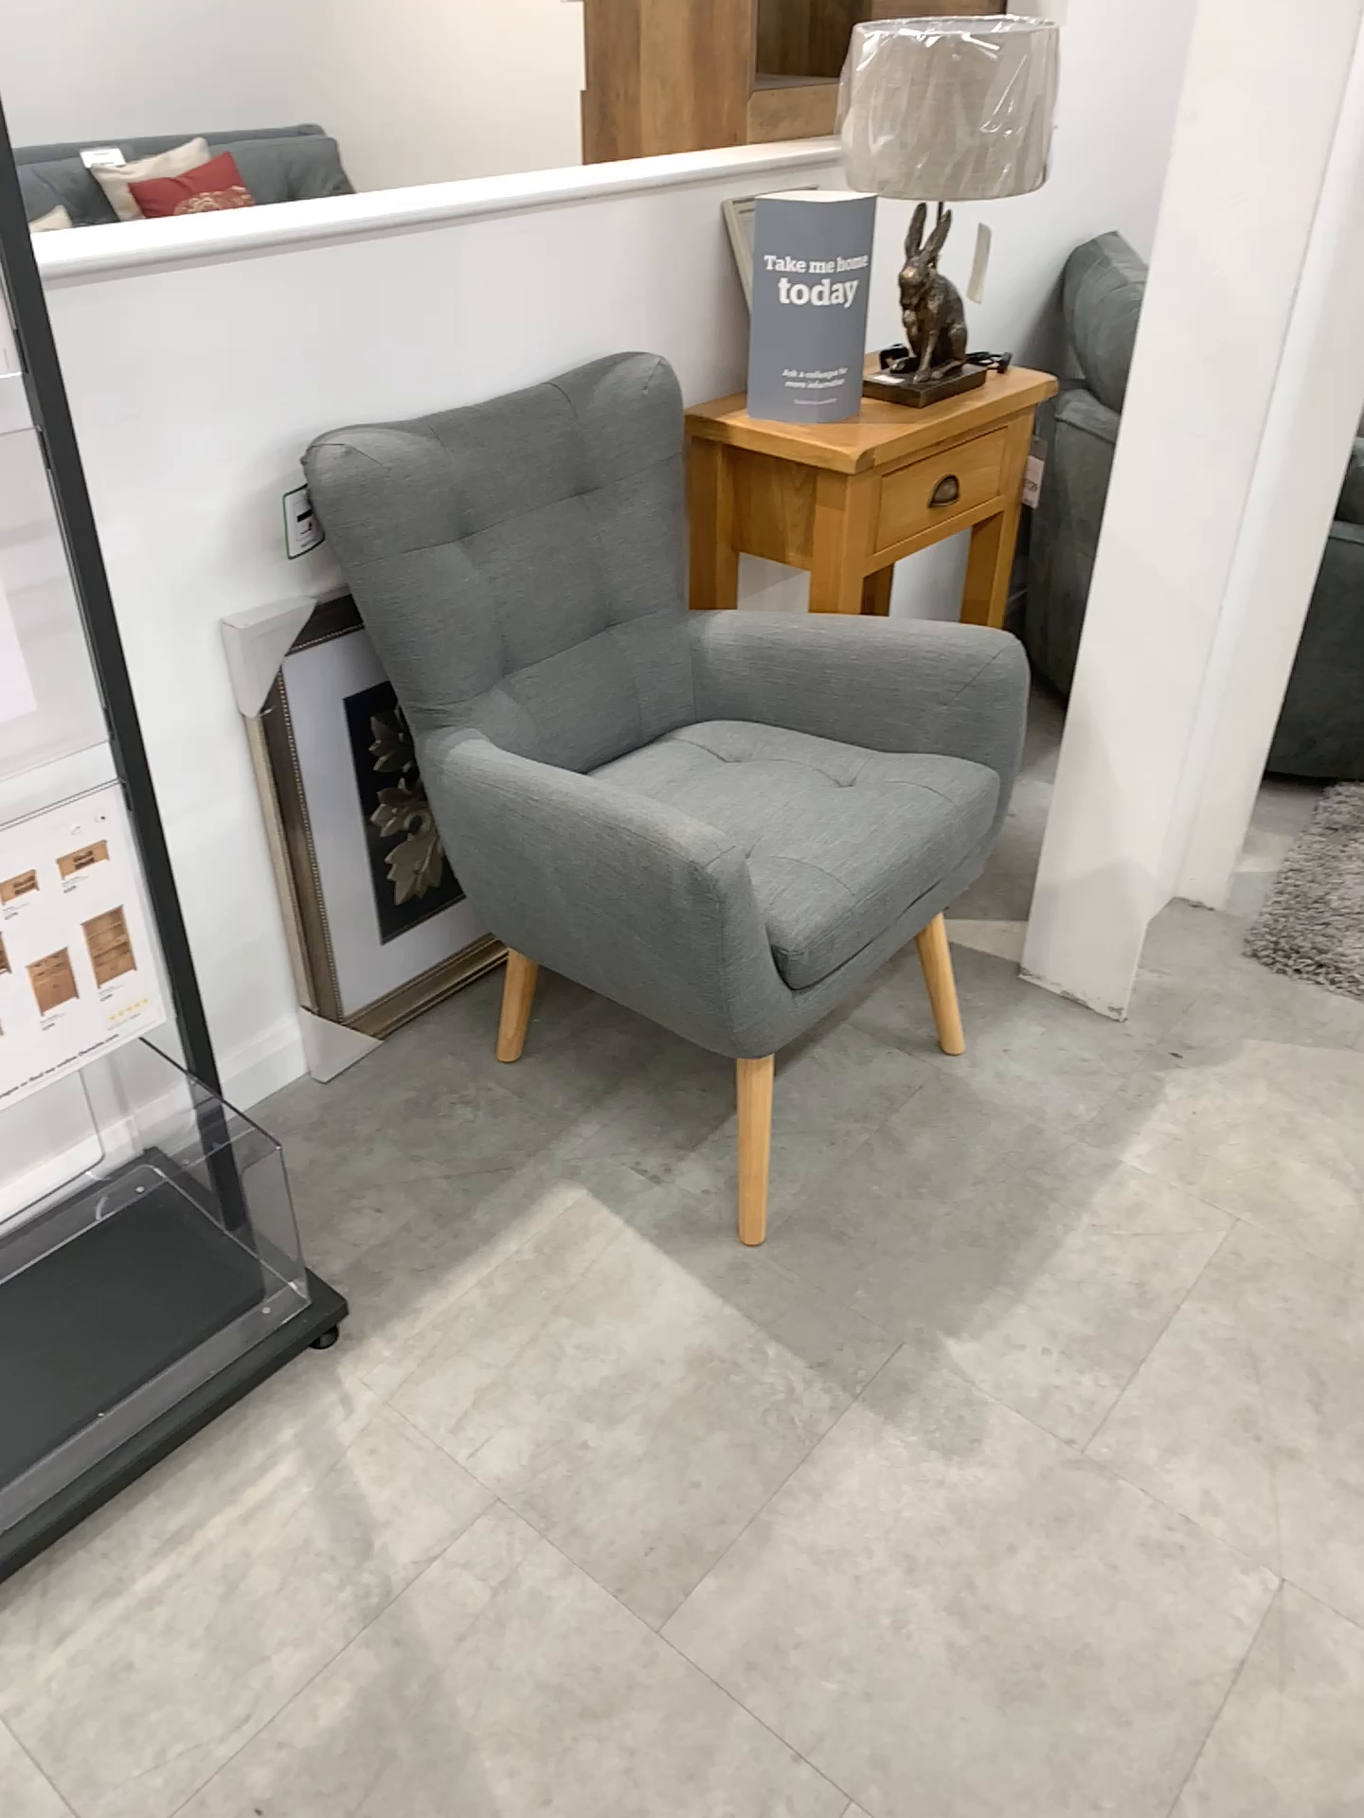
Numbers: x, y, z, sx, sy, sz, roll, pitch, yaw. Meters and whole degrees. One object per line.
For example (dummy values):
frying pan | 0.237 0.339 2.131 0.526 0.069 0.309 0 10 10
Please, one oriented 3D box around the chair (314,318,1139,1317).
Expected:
chair | 0.068 -0.158 1.688 0.540 0.877 0.712 25 40 32
